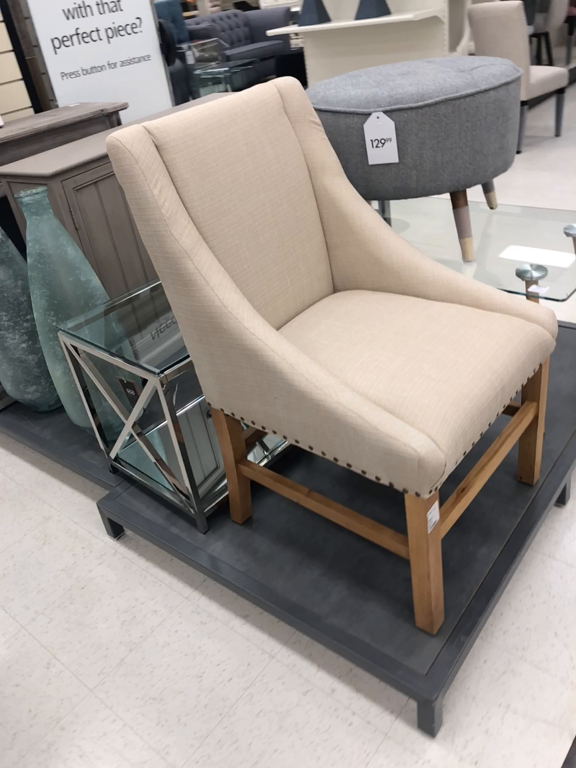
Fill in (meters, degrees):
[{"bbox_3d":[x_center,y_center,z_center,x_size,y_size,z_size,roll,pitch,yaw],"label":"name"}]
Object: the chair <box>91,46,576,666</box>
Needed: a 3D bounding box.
[{"bbox_3d":[0.172,-0.095,1.338,0.652,0.966,0.611,17,41,36],"label":"chair"}]
